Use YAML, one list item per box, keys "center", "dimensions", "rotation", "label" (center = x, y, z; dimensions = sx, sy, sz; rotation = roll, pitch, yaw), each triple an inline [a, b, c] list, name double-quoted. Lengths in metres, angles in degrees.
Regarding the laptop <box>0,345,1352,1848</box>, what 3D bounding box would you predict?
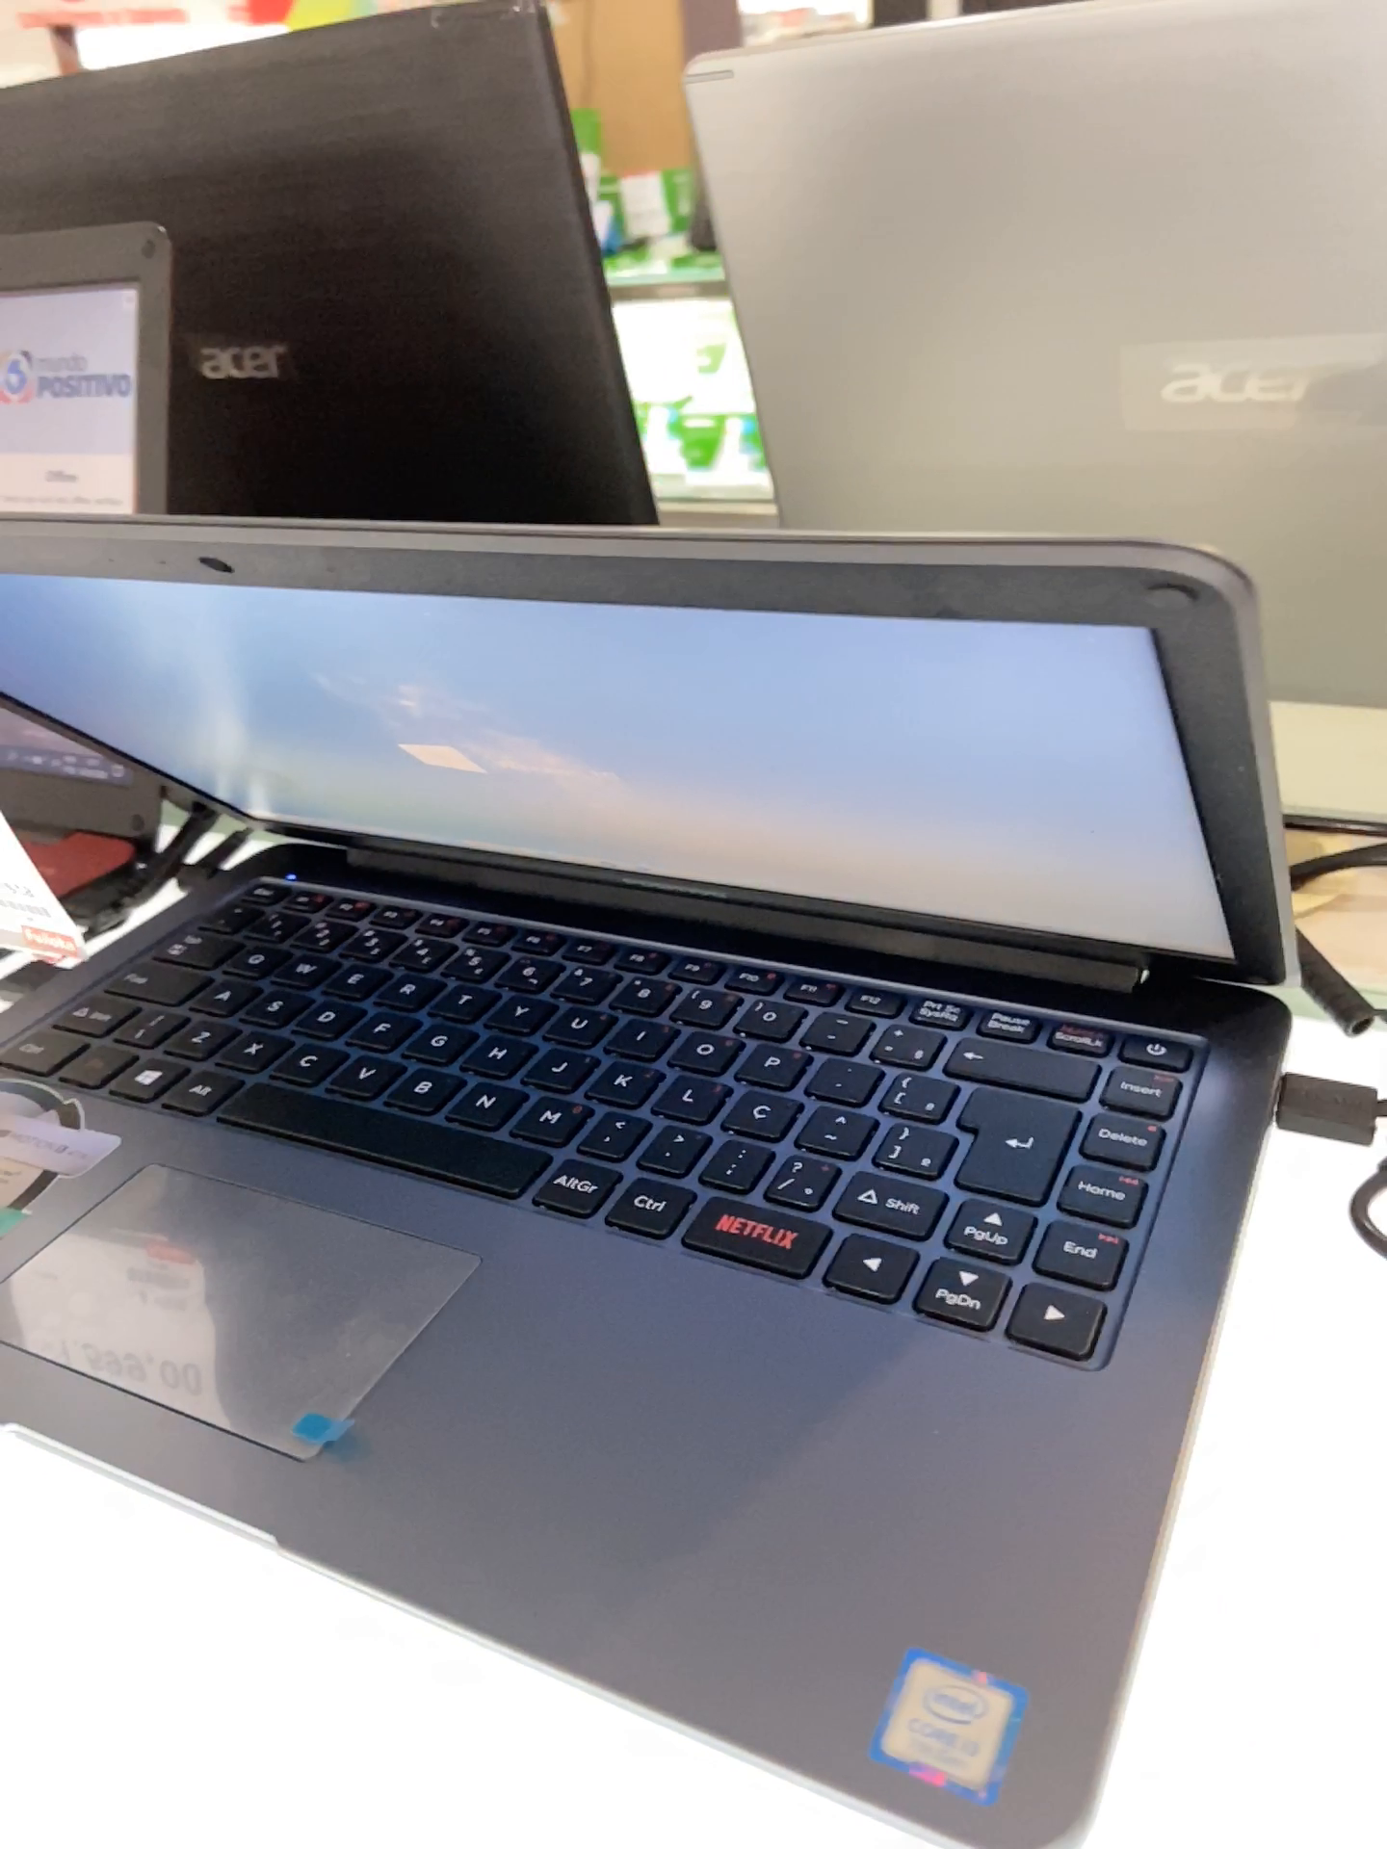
- center: [-0.054, -0.019, 0.297]
  dimensions: [0.316, 0.145, 0.212]
  rotation: [9, 32, 27]
  label: "laptop"
